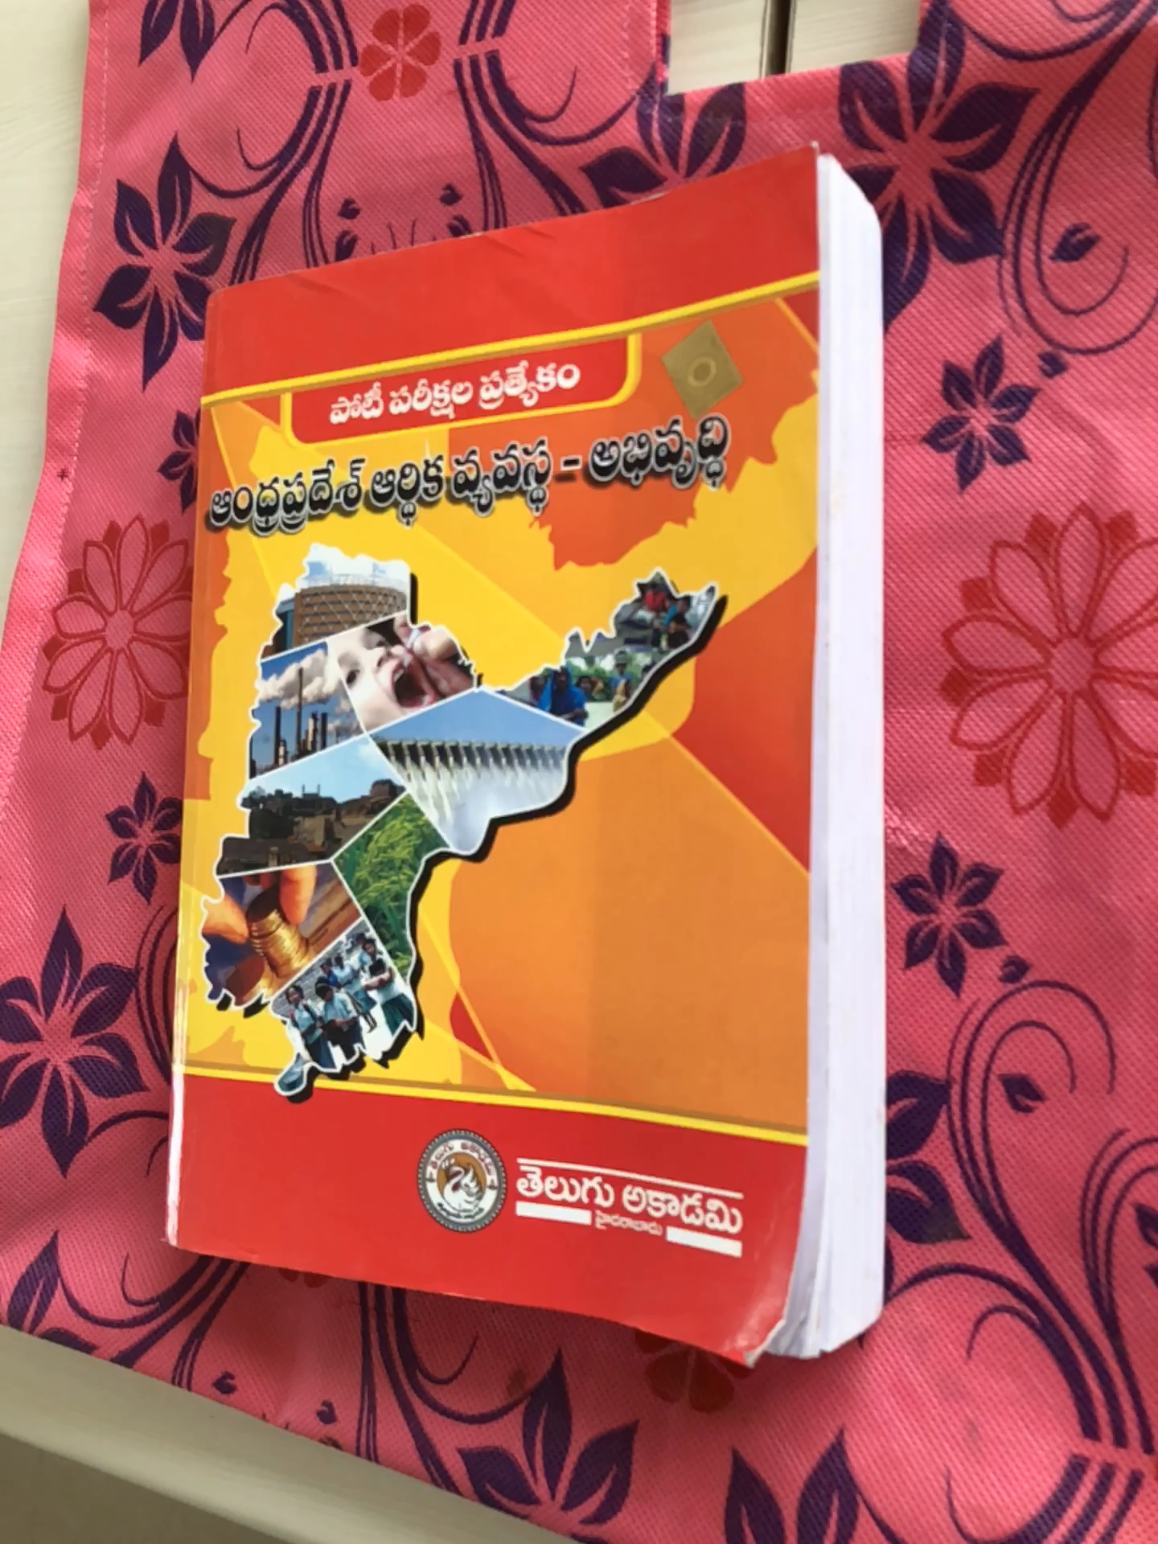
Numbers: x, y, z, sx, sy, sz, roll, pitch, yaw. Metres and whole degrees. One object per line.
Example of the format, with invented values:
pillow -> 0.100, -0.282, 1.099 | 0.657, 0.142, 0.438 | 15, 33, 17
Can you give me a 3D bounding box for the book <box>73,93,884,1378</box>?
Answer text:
book -> -0.029, -0.008, 0.325 | 0.200, 0.060, 0.260 | 0, 88, 24
